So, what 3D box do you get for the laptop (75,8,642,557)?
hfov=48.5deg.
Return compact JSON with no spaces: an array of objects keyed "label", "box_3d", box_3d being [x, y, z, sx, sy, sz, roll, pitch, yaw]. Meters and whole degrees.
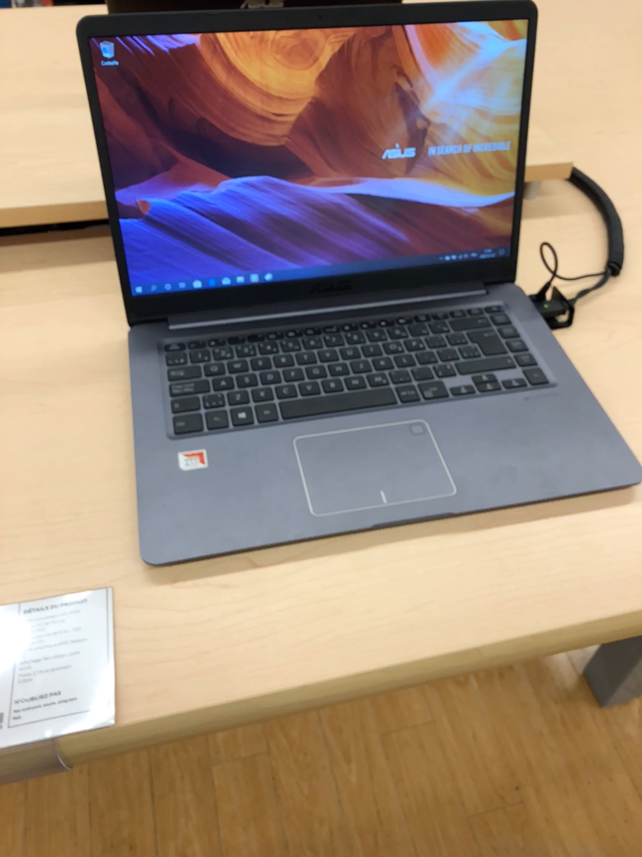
[{"label":"laptop","box_3d":[0.030,-0.130,0.527,0.361,0.223,0.318,-8,48,-10]}]
